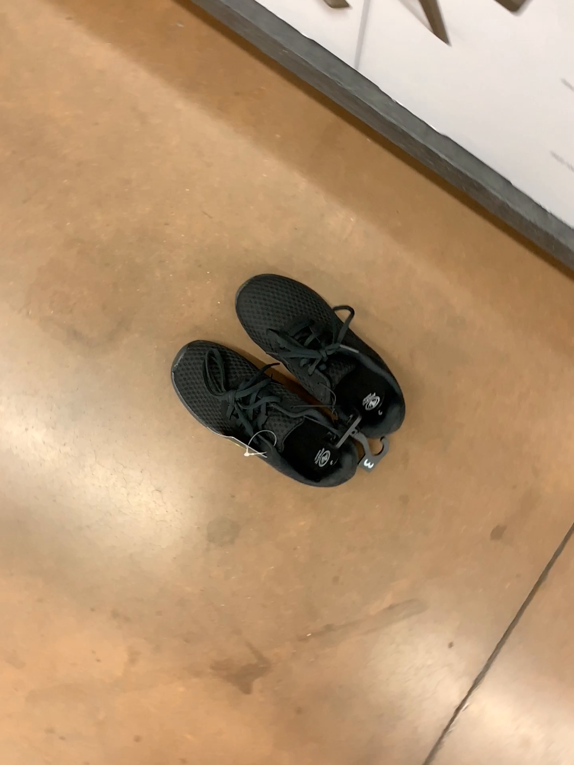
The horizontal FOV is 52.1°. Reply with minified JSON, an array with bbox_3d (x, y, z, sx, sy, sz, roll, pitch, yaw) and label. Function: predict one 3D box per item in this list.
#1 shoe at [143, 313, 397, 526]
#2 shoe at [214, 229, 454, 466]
[{"bbox_3d":[-0.017,0.036,0.597,0.230,0.080,0.090,34,88,-4],"label":"shoe"},{"bbox_3d":[0.043,-0.032,0.596,0.230,0.080,0.090,43,87,-4],"label":"shoe"}]
